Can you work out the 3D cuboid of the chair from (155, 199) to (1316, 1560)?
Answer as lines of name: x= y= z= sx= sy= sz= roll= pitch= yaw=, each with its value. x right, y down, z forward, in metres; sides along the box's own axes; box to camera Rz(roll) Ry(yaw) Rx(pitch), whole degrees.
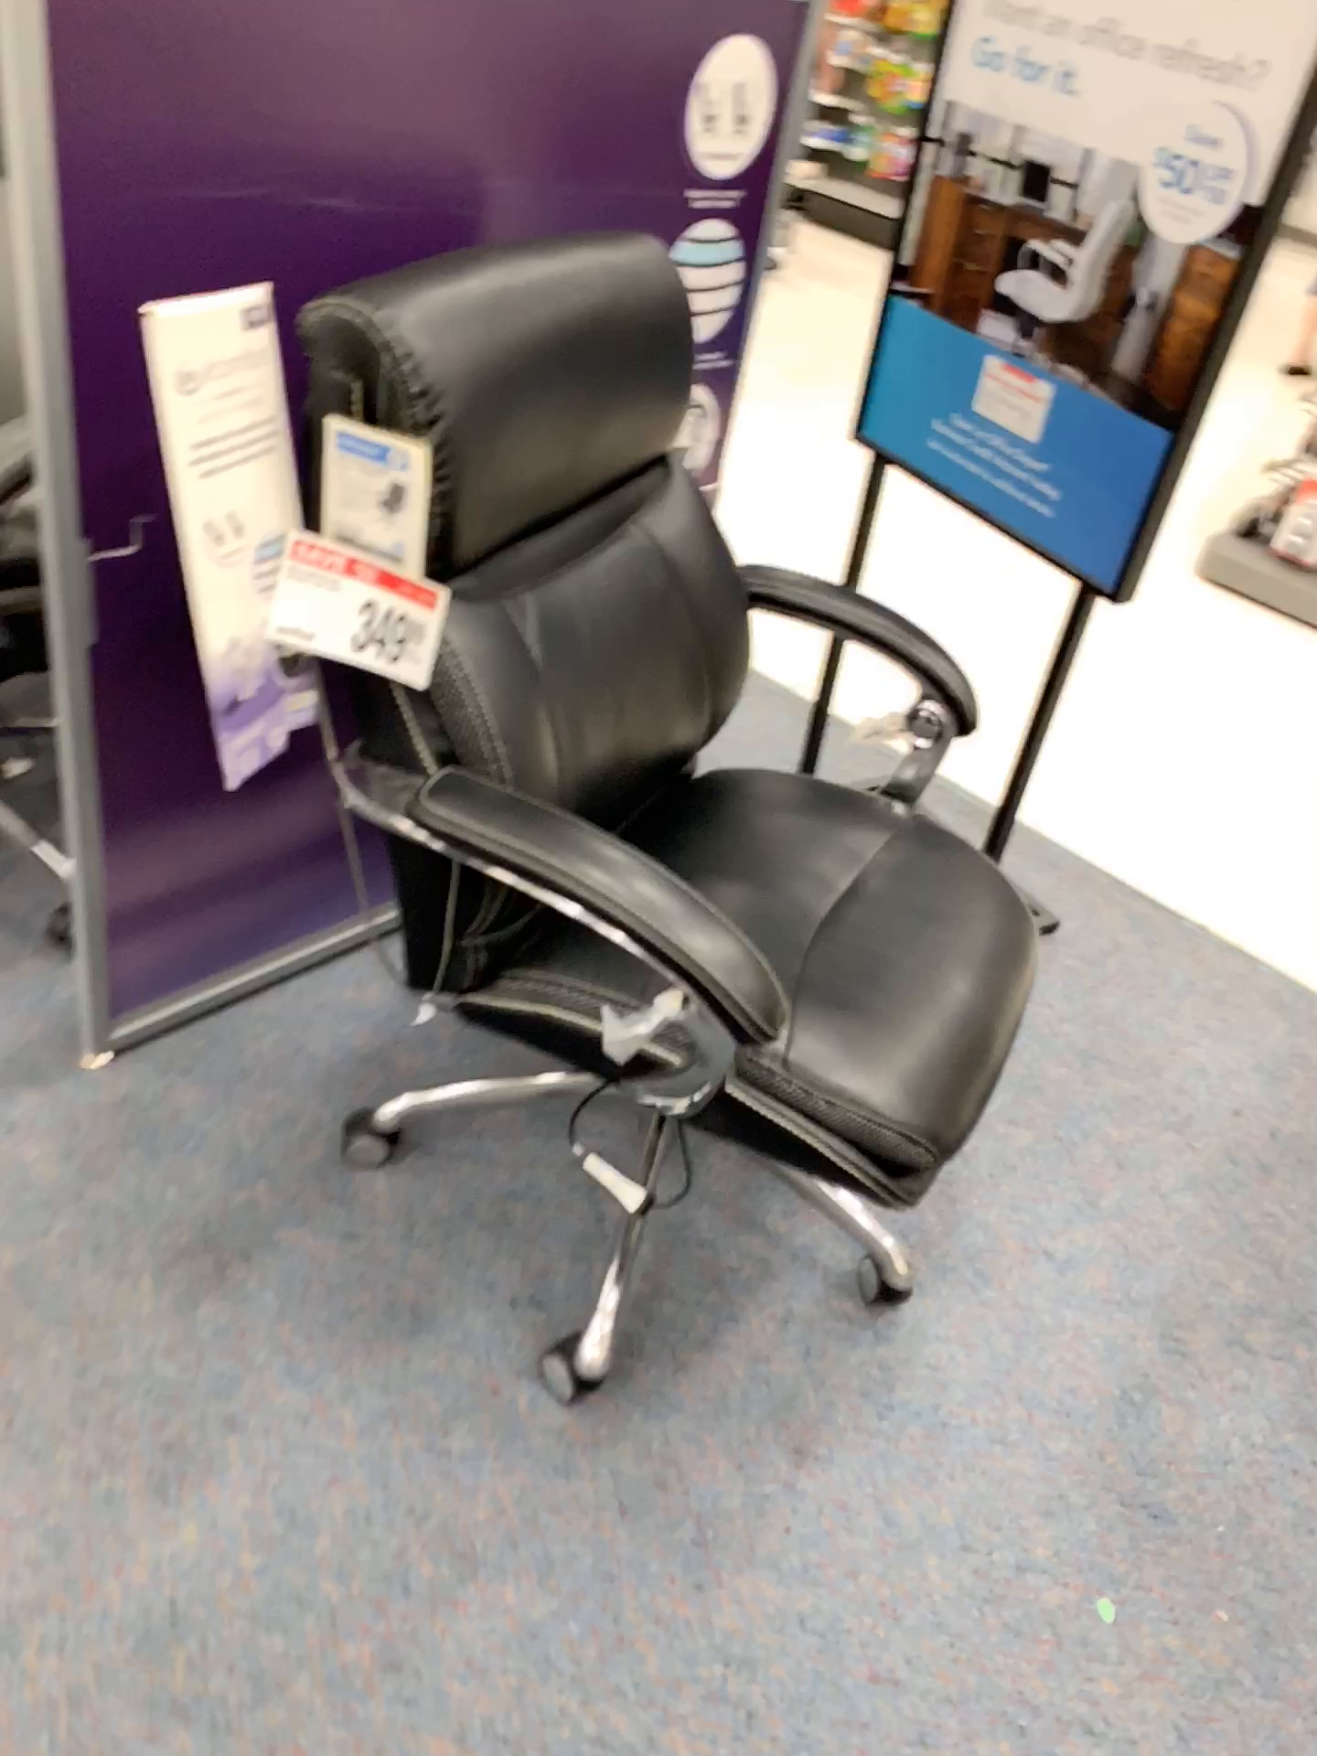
chair: x=0.065 y=-0.059 z=1.373 sx=0.782 sy=0.946 sz=0.741 roll=26 pitch=37 yaw=16
